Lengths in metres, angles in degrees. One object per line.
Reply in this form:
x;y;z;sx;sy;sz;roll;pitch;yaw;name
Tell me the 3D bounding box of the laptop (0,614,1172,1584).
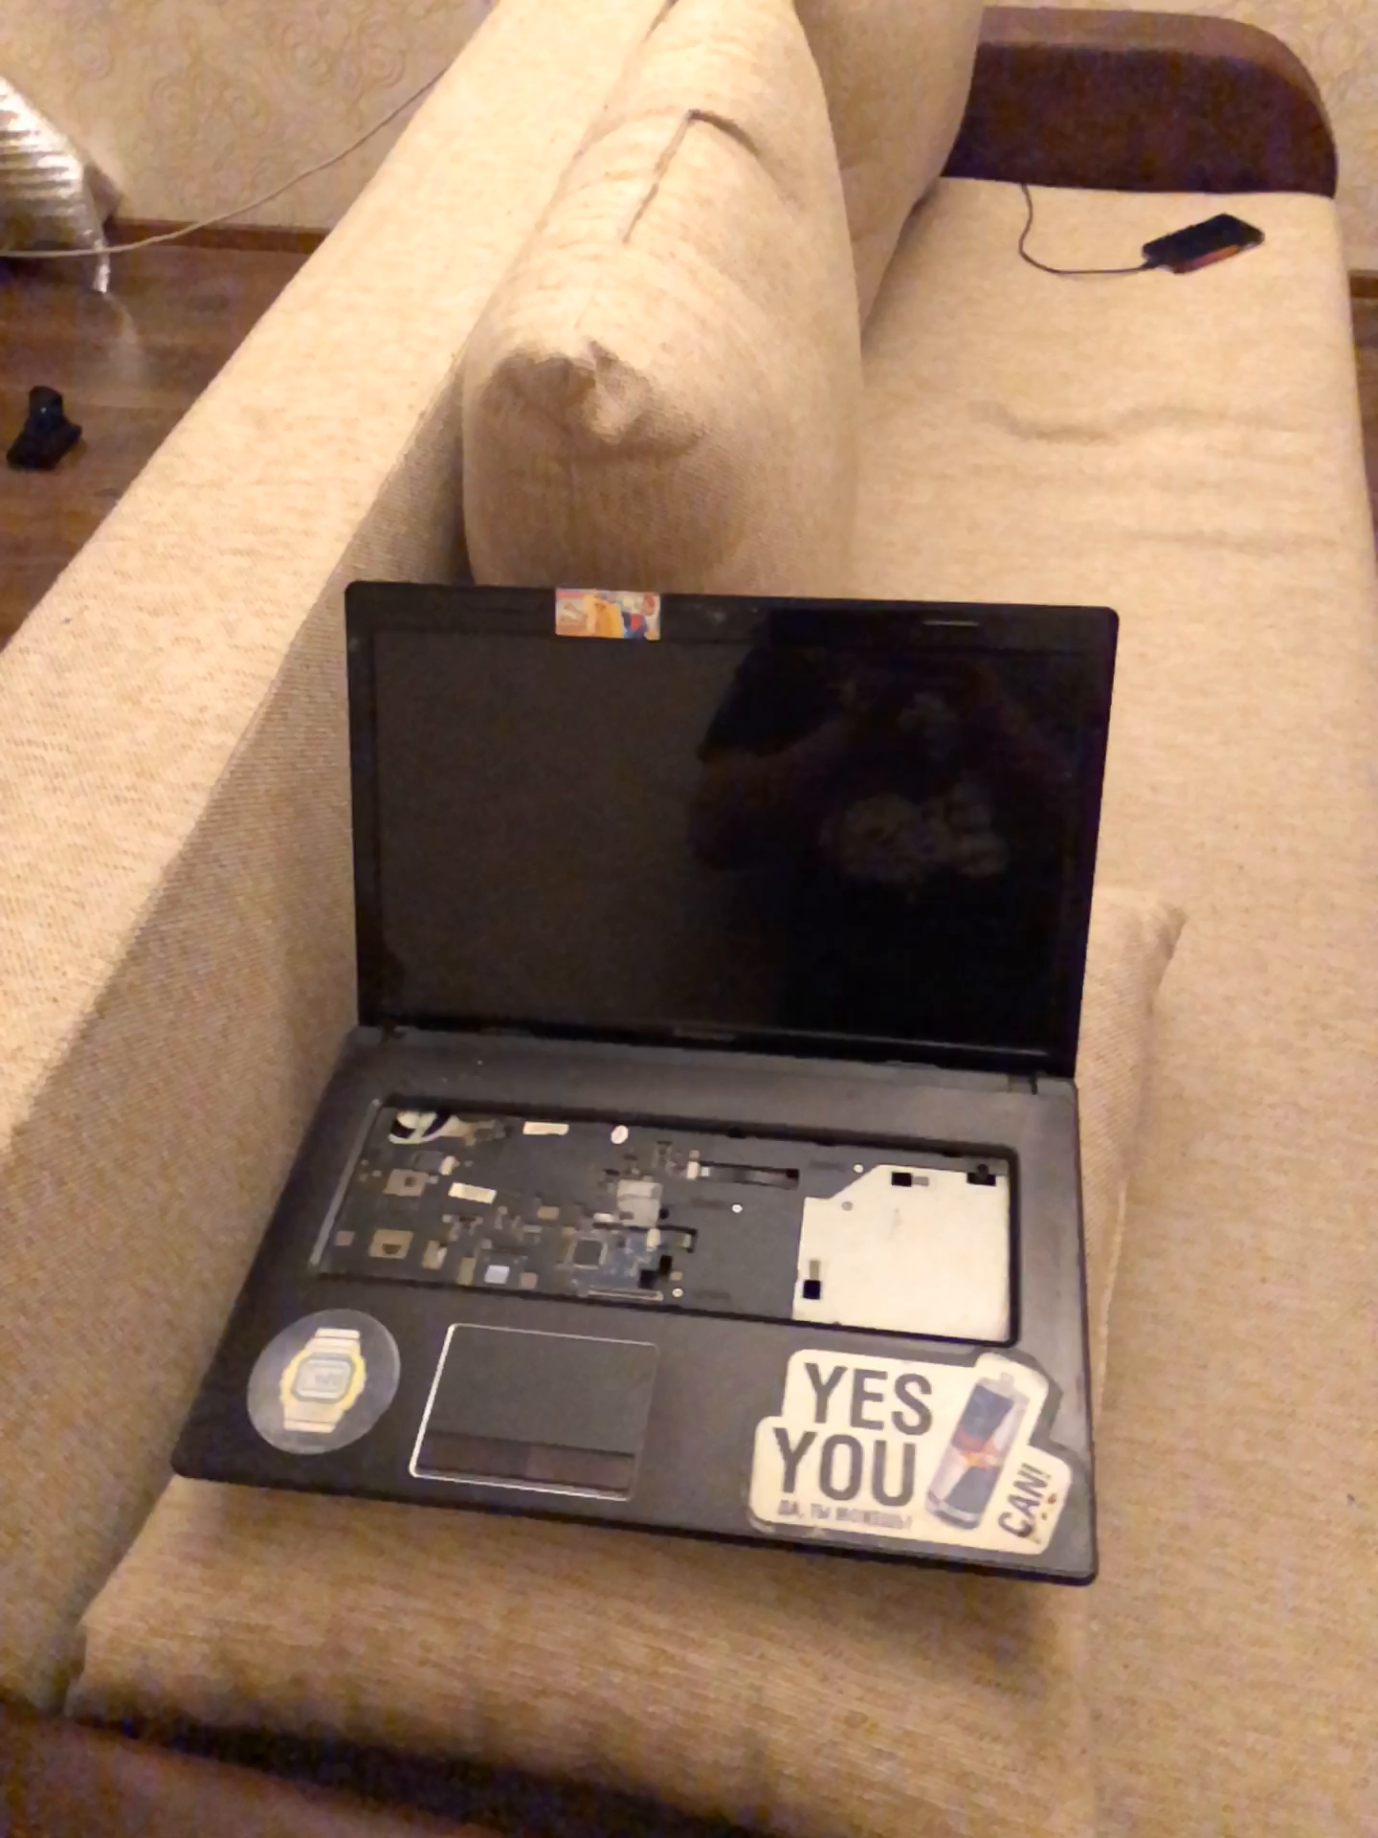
-0.011;0.057;0.738;0.412;0.198;0.410;4;47;8;laptop
